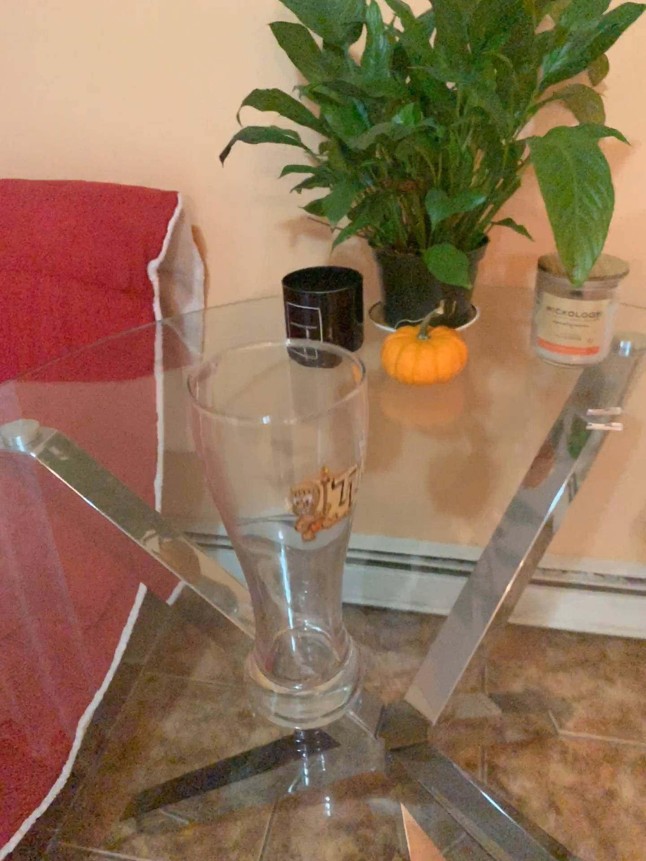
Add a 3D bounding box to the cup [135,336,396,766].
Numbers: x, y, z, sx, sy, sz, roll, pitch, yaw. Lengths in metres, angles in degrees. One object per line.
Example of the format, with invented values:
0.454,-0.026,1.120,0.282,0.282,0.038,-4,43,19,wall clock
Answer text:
-0.017,0.067,0.362,0.100,0.211,0.093,-2,30,1,cup
